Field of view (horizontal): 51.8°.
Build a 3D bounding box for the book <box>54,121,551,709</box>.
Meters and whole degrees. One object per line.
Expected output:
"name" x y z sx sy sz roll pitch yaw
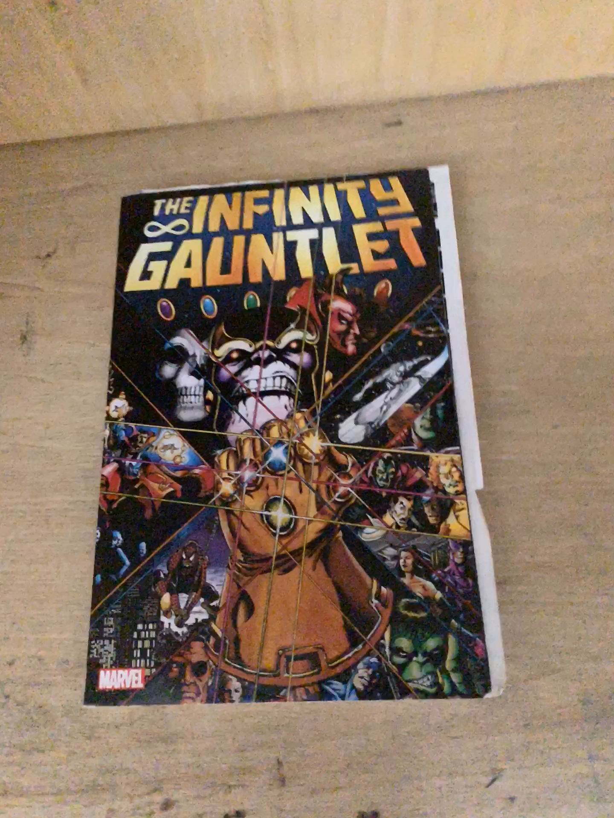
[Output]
"book" -0.007 -0.009 0.300 0.190 0.030 0.271 -3 70 6
